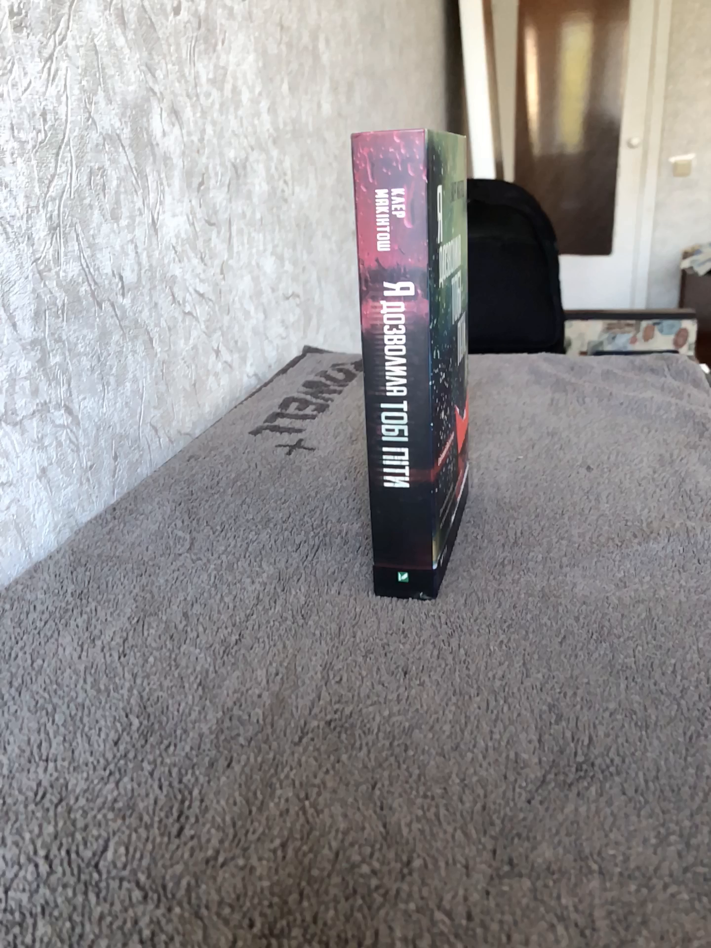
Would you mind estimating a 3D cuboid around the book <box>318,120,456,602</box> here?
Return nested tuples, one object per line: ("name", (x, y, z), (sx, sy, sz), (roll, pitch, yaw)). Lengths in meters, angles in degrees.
("book", (0.024, -0.062, 0.390), (0.044, 0.201, 0.140), (1, 21, 10))
